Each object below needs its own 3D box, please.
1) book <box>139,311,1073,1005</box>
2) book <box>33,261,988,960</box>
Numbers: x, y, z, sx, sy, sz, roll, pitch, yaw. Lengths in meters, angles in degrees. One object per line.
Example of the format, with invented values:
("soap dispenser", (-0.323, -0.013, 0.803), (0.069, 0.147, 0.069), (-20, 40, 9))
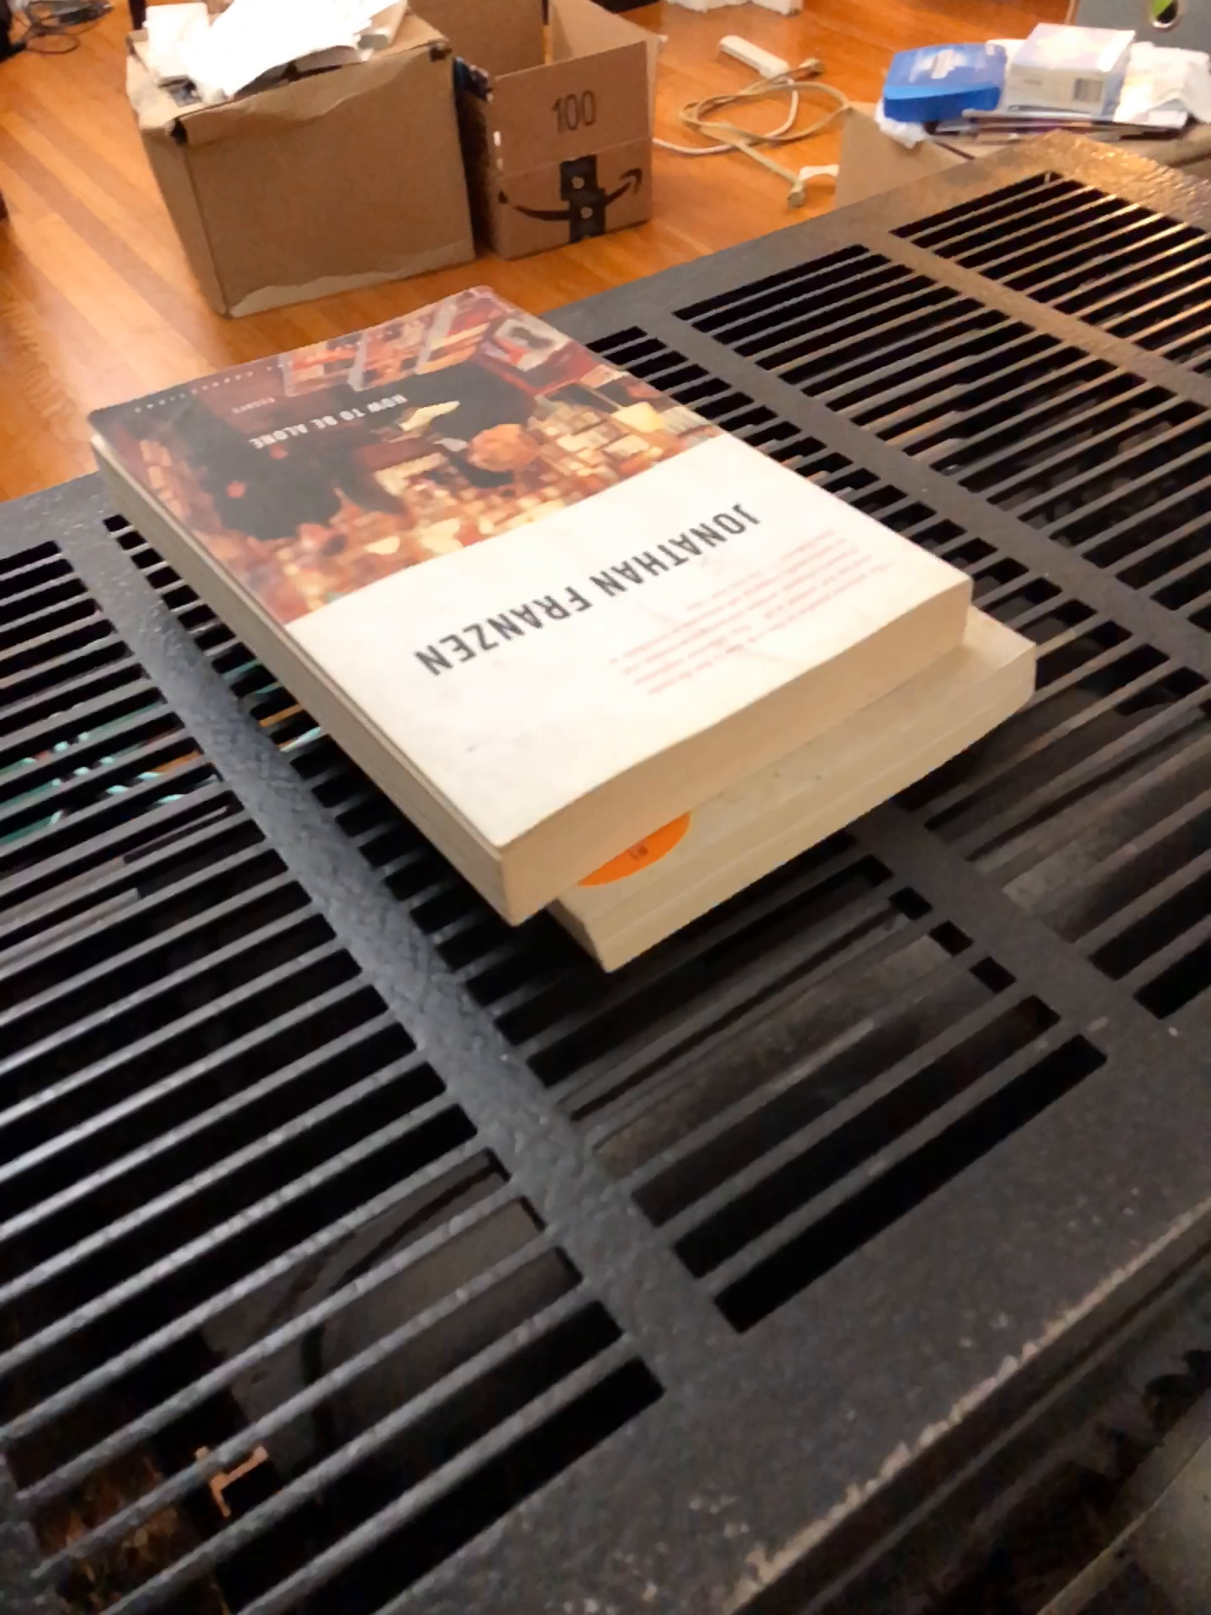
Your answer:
("book", (-0.009, -0.062, 0.364), (0.150, 0.030, 0.211), (-30, 52, -24))
("book", (-0.034, -0.073, 0.350), (0.150, 0.030, 0.211), (-30, 52, -24))
